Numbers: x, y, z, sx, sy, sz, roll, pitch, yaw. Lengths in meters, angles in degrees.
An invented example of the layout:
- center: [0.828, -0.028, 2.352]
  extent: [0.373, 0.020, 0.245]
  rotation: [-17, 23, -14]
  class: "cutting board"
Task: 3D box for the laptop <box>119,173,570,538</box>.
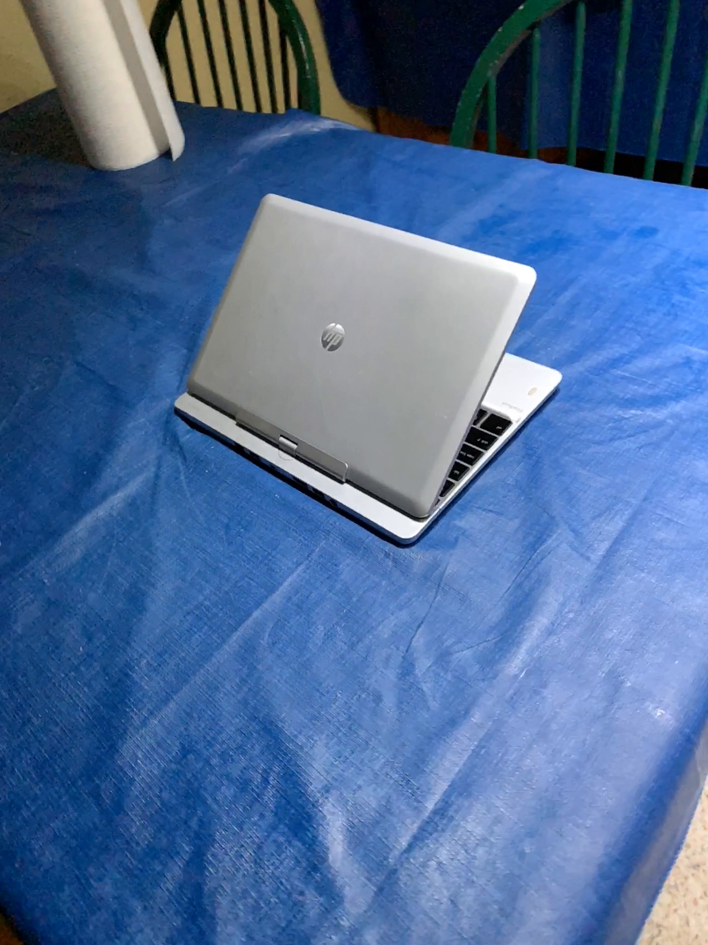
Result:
- center: [-0.007, -0.115, 0.593]
  extent: [0.280, 0.122, 0.208]
  rotation: [29, 60, 34]
  class: "laptop"
